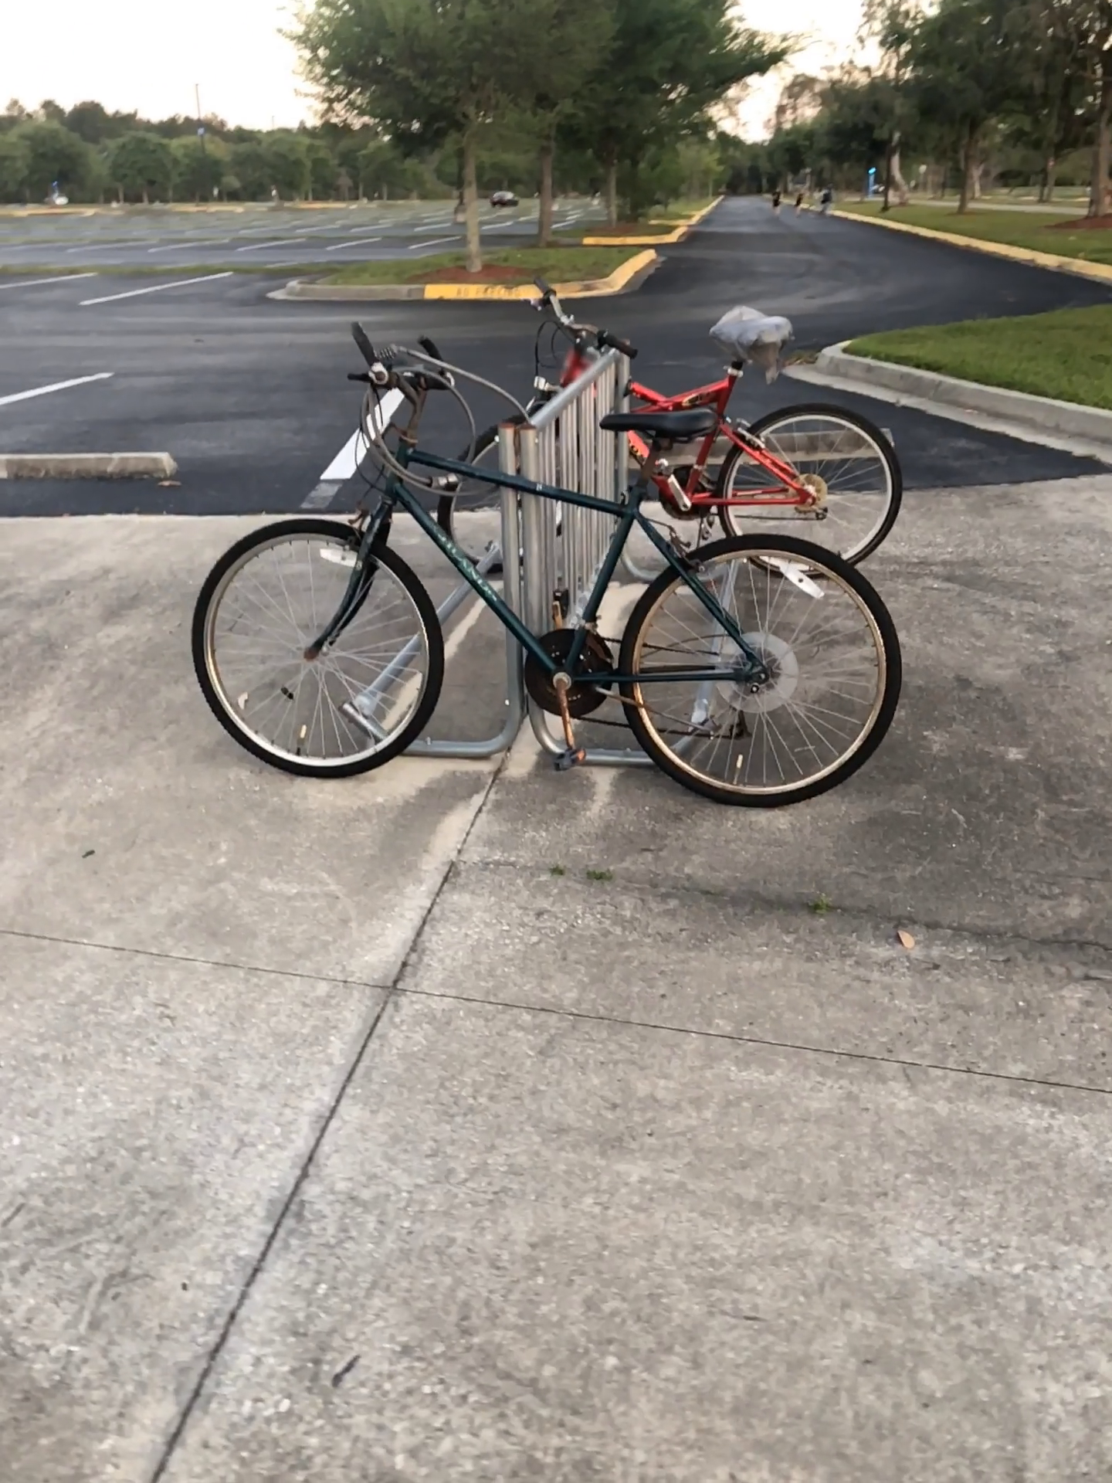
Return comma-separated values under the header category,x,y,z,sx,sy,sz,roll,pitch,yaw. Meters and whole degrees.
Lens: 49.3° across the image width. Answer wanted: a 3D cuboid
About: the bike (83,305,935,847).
category,x,y,z,sx,sy,sz,roll,pitch,yaw
bike,-0.065,-0.431,2.915,1.750,1.104,0.587,3,24,10
